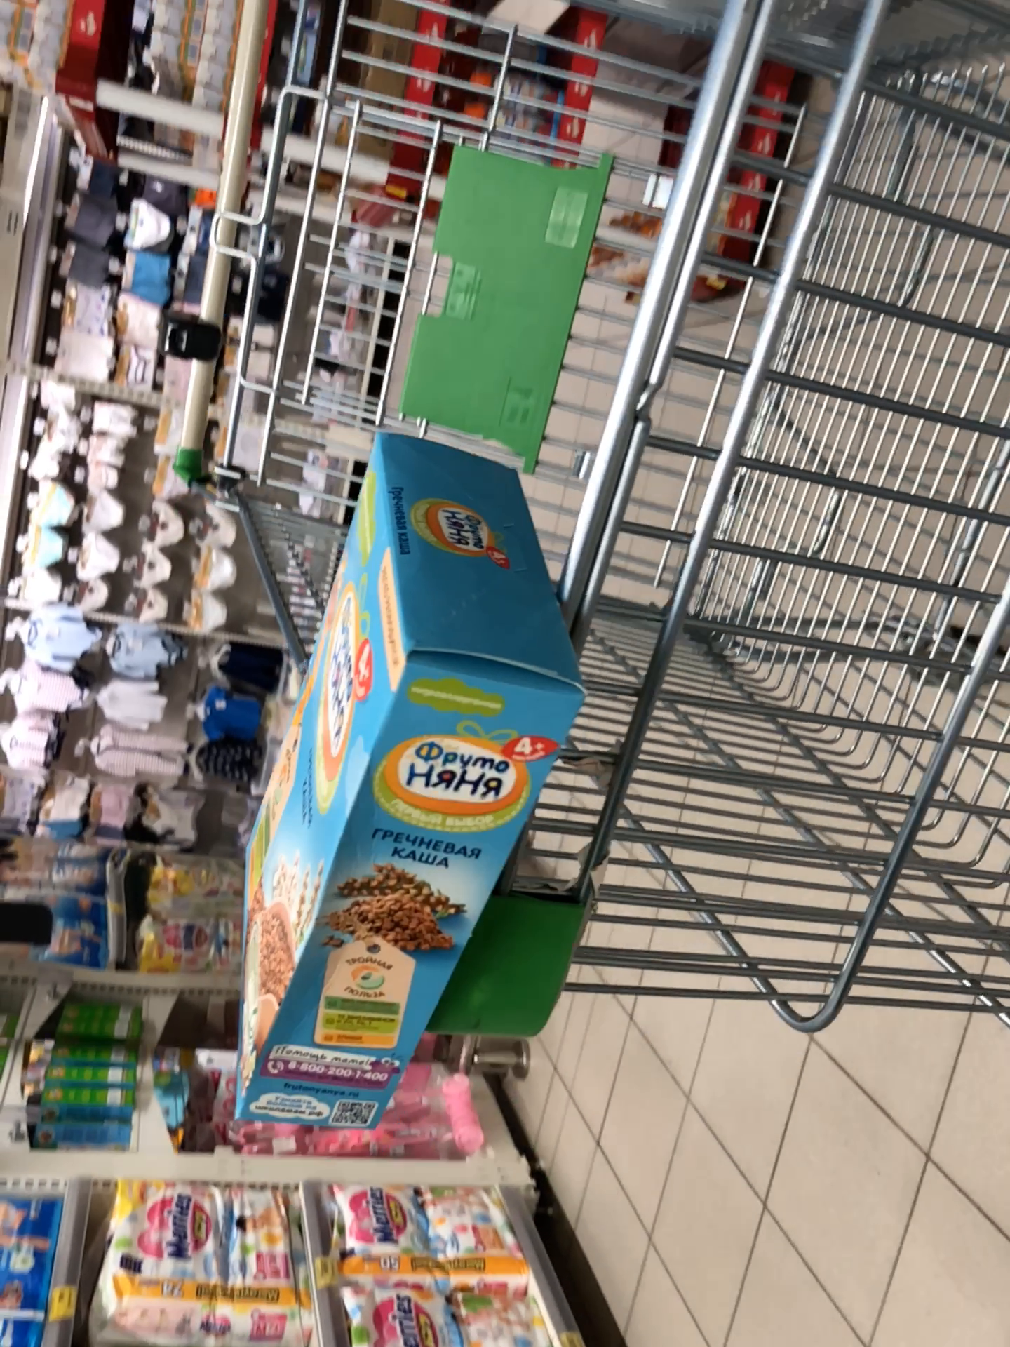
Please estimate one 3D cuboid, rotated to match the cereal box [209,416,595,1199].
[{"bbox_3d":[-0.048,0.046,0.371,0.150,0.050,0.210,-103,30,-52],"label":"cereal box"}]
